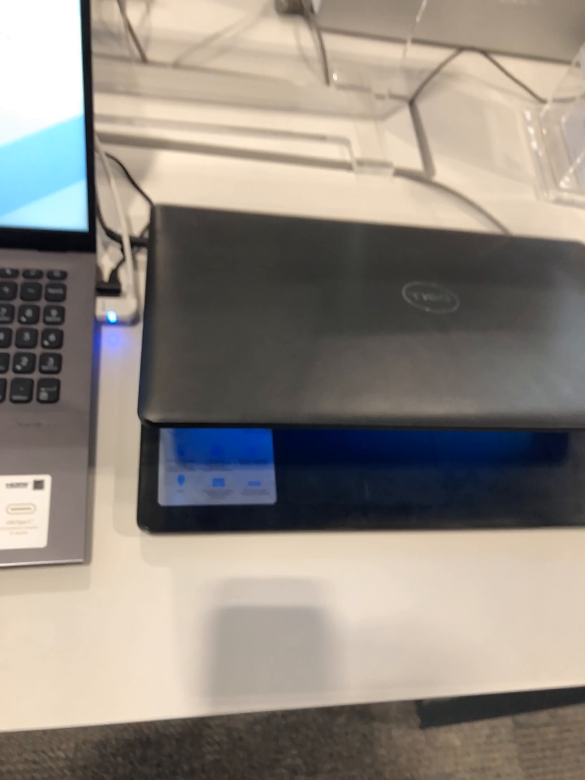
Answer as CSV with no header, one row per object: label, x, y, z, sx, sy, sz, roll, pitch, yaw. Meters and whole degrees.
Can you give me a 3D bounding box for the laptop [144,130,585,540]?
laptop,0.094,-0.038,0.438,0.365,0.080,0.245,2,59,-14
